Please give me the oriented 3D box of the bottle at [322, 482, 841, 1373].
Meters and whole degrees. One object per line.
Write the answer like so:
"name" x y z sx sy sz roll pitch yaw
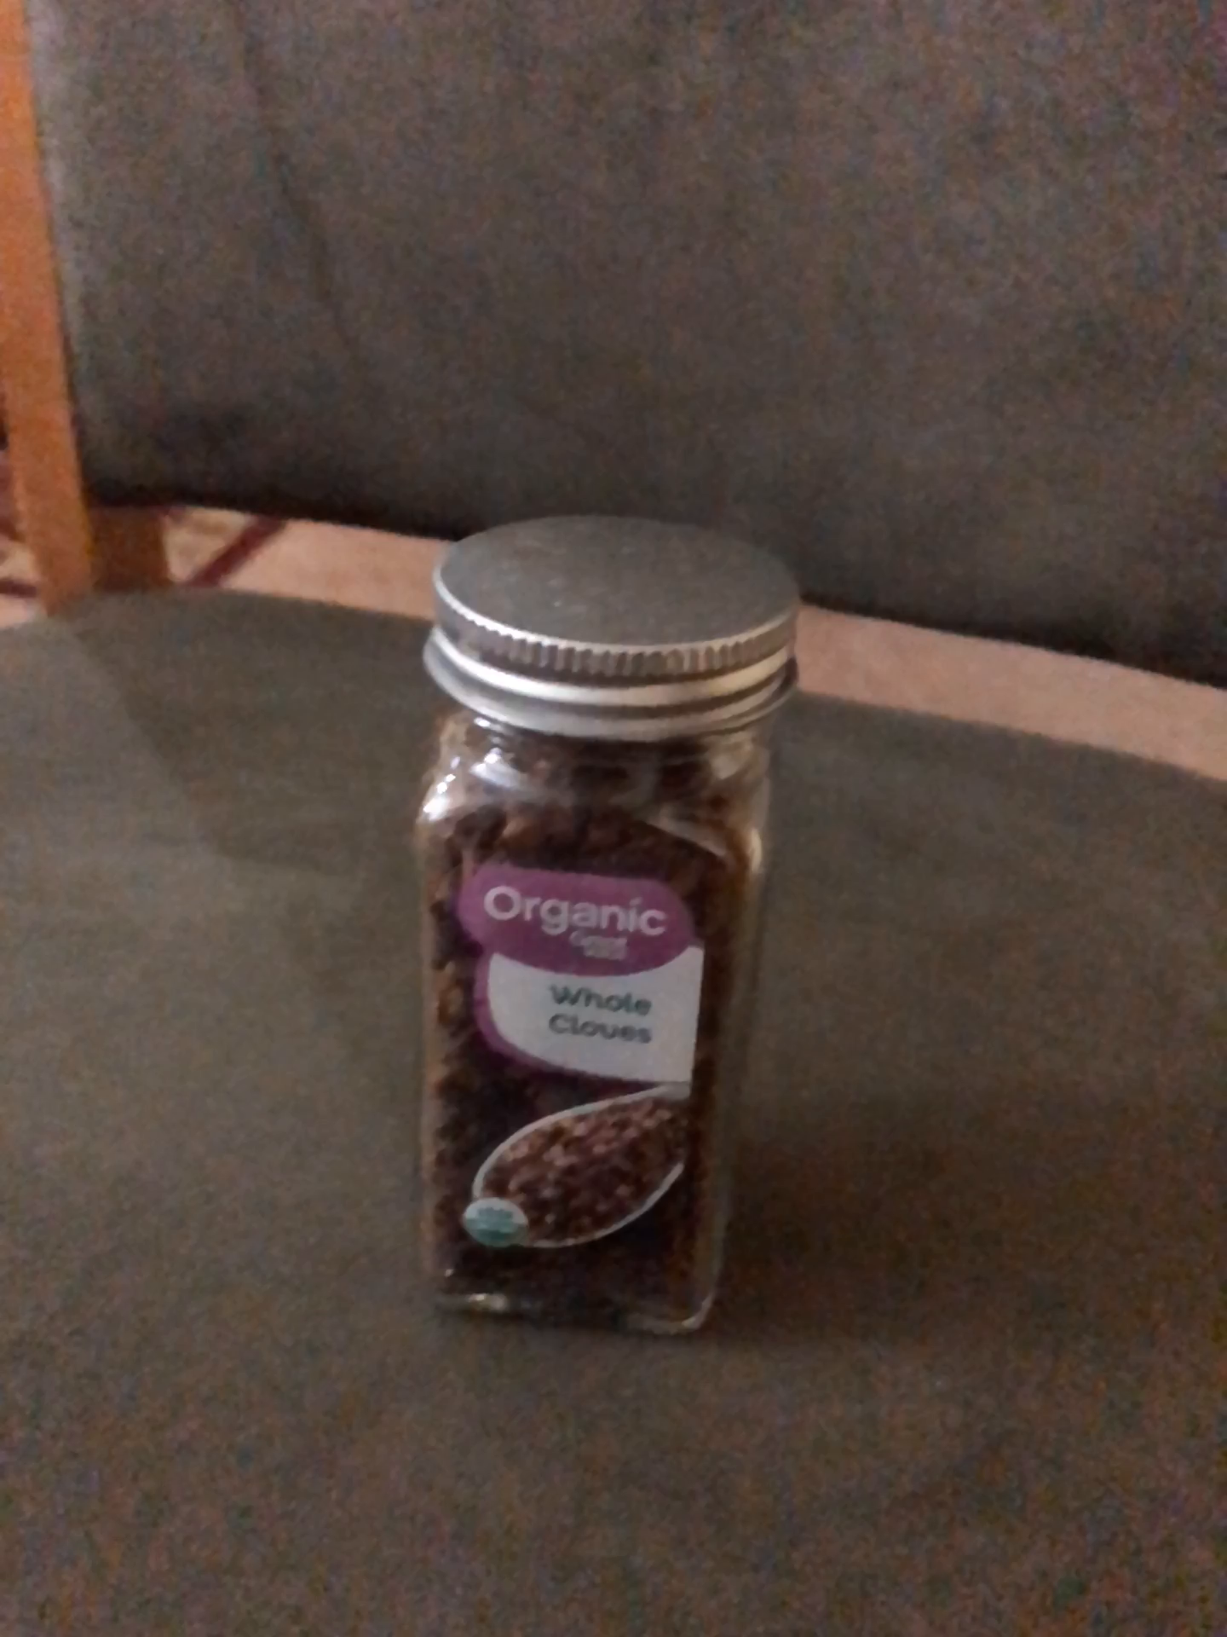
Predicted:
"bottle" -0.002 0.015 0.181 0.050 0.100 0.050 2 31 -1
